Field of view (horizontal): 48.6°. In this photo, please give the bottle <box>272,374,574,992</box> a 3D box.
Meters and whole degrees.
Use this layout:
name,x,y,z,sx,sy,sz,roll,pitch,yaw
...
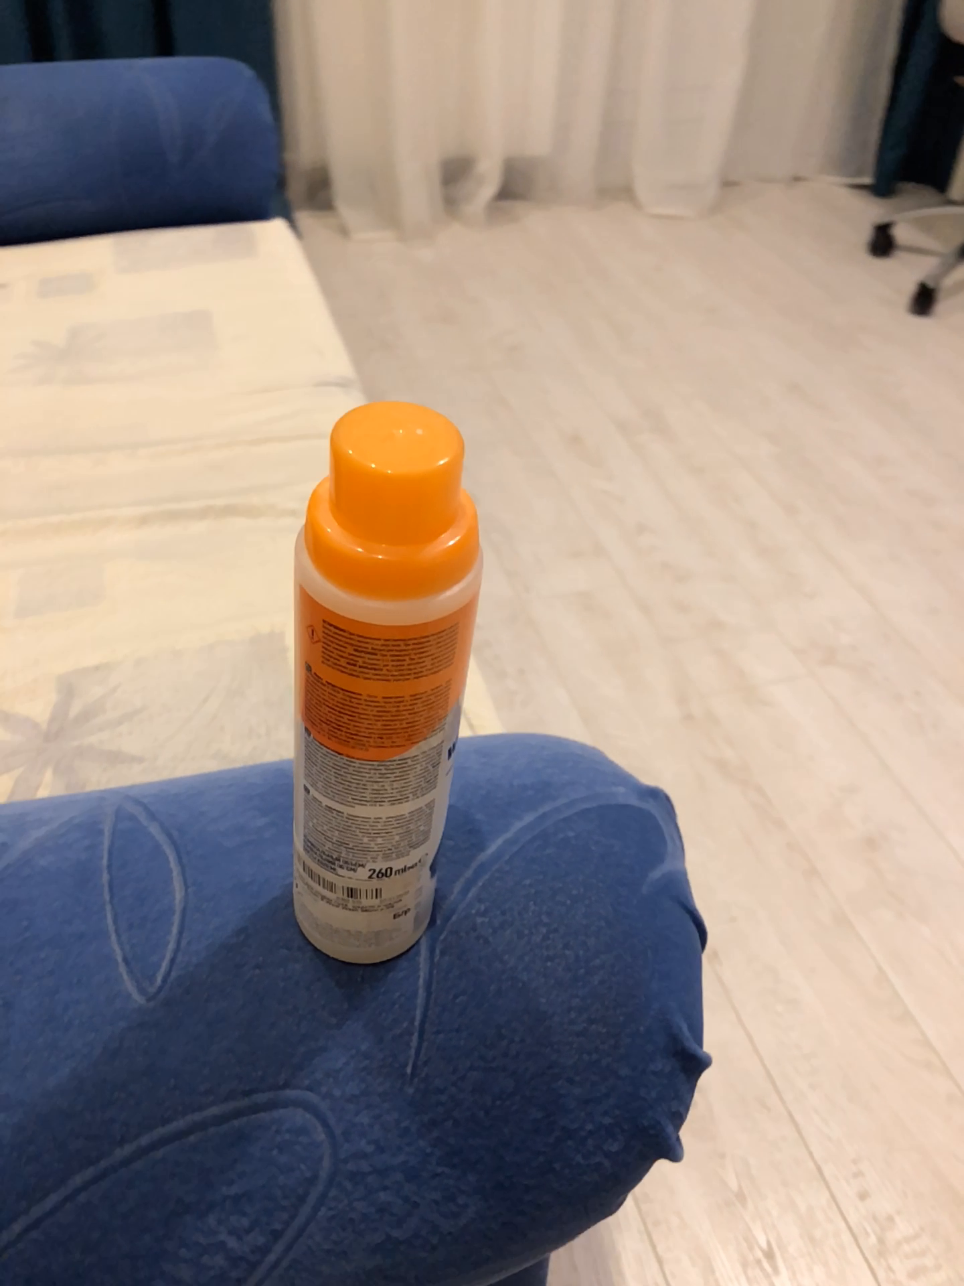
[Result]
name,x,y,z,sx,sy,sz,roll,pitch,yaw
bottle,-0.027,0.022,0.308,0.052,0.188,0.052,6,42,-6
